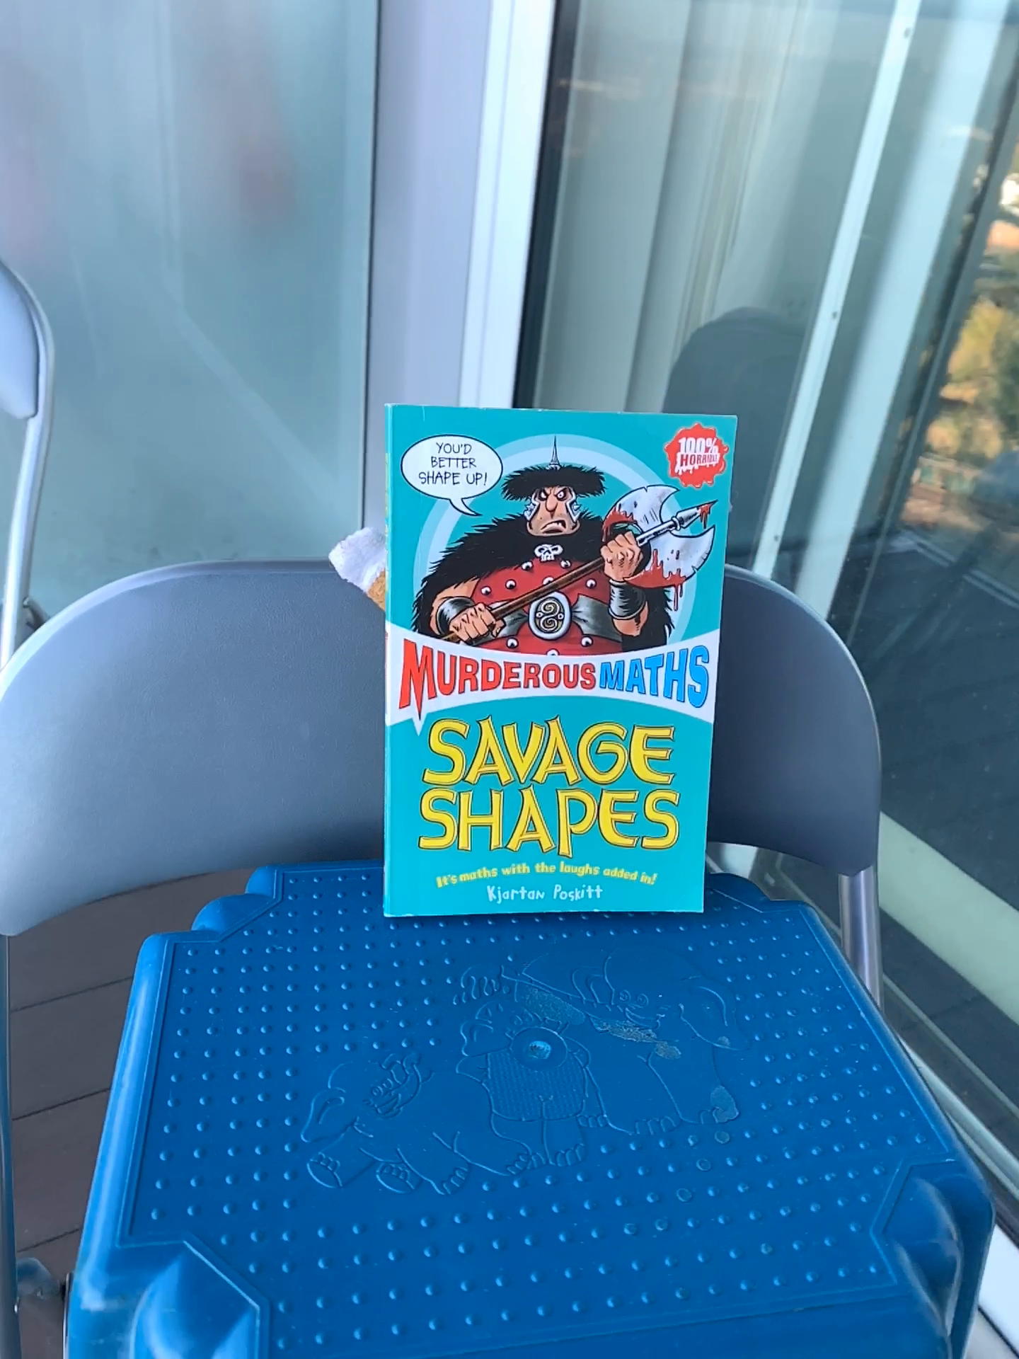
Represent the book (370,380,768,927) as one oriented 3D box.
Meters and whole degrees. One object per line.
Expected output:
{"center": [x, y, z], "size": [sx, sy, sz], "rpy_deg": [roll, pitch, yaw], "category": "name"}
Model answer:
{"center": [0.018, -0.006, 0.391], "size": [0.133, 0.193, 0.029], "rpy_deg": [1, 11, -10], "category": "book"}
